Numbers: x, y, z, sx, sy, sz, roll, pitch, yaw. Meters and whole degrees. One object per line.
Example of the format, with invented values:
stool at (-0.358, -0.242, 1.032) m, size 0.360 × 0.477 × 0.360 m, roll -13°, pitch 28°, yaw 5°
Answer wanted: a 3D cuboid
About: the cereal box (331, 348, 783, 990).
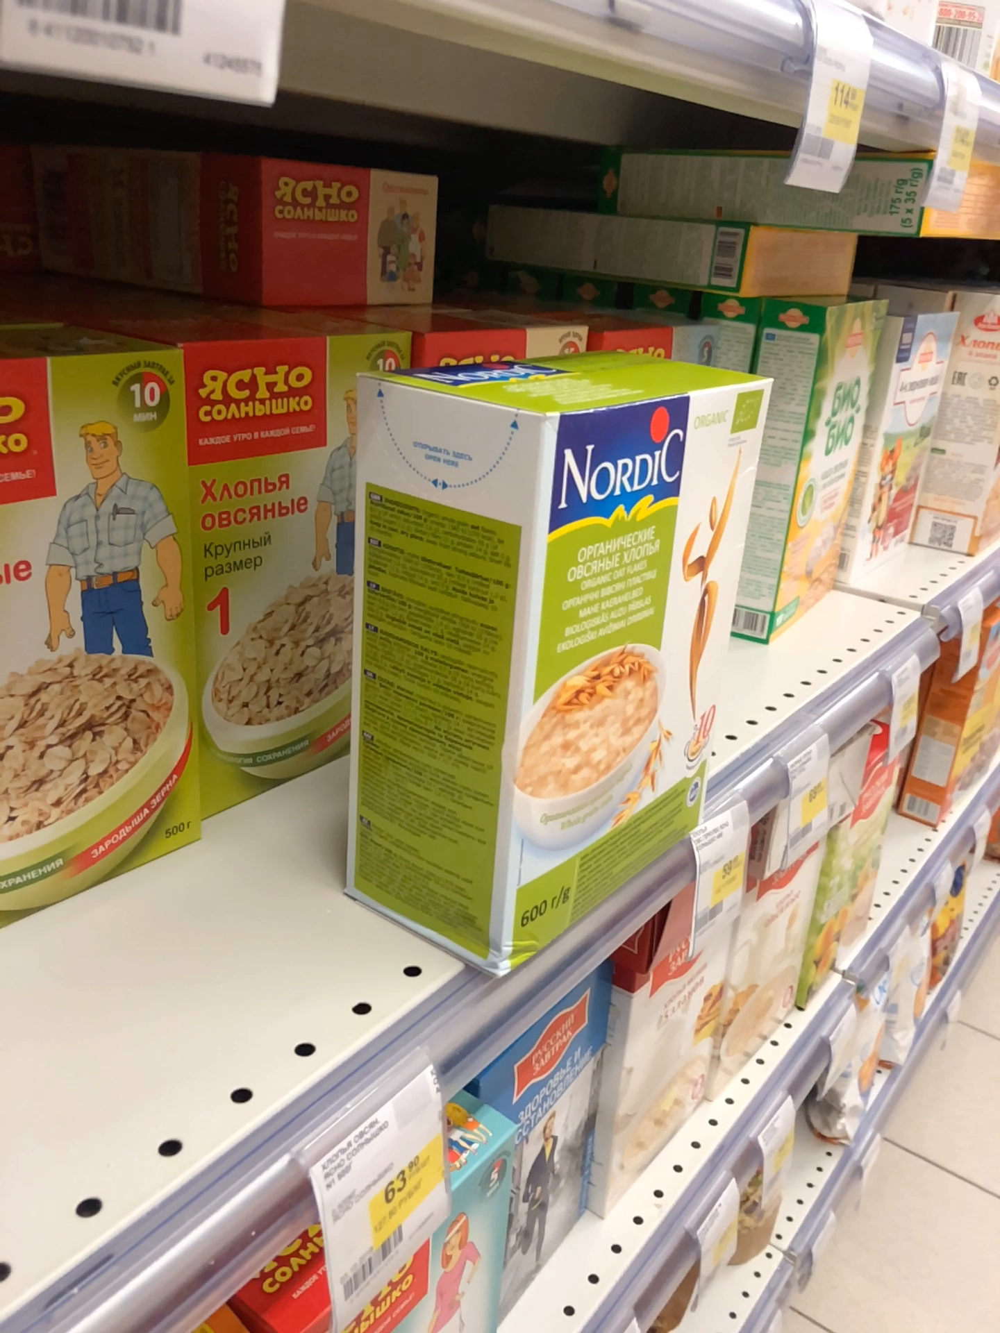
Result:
cereal box at (0.021, -0.012, 0.408) m, size 0.080 × 0.189 × 0.151 m, roll 19°, pitch 26°, yaw 33°
